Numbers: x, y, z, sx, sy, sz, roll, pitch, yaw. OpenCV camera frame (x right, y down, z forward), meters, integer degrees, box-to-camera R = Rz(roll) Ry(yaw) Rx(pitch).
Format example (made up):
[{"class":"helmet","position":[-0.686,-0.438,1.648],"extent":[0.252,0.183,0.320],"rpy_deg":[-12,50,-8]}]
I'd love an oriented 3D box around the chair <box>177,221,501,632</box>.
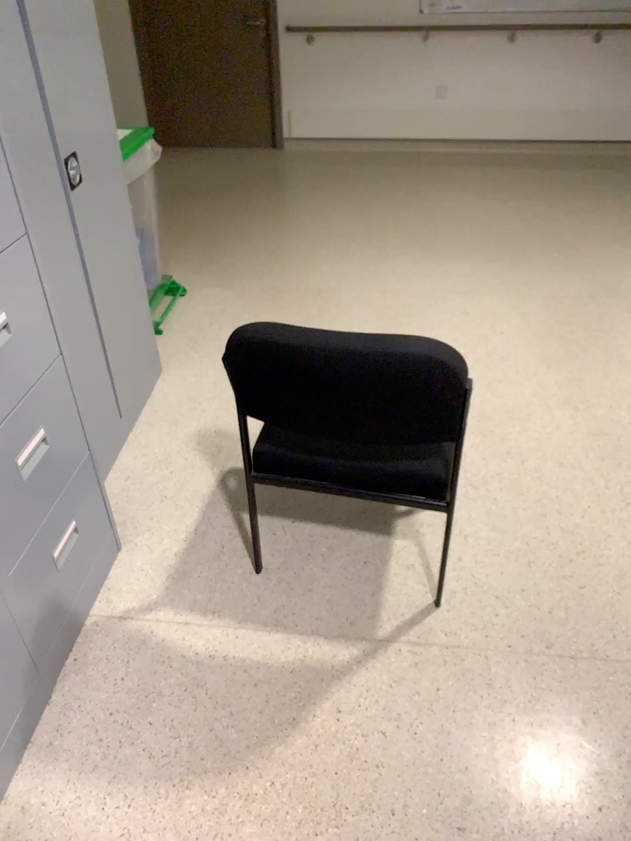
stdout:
[{"class":"chair","position":[0.102,0.003,1.730],"extent":[0.630,0.832,0.586],"rpy_deg":[8,38,12]}]
